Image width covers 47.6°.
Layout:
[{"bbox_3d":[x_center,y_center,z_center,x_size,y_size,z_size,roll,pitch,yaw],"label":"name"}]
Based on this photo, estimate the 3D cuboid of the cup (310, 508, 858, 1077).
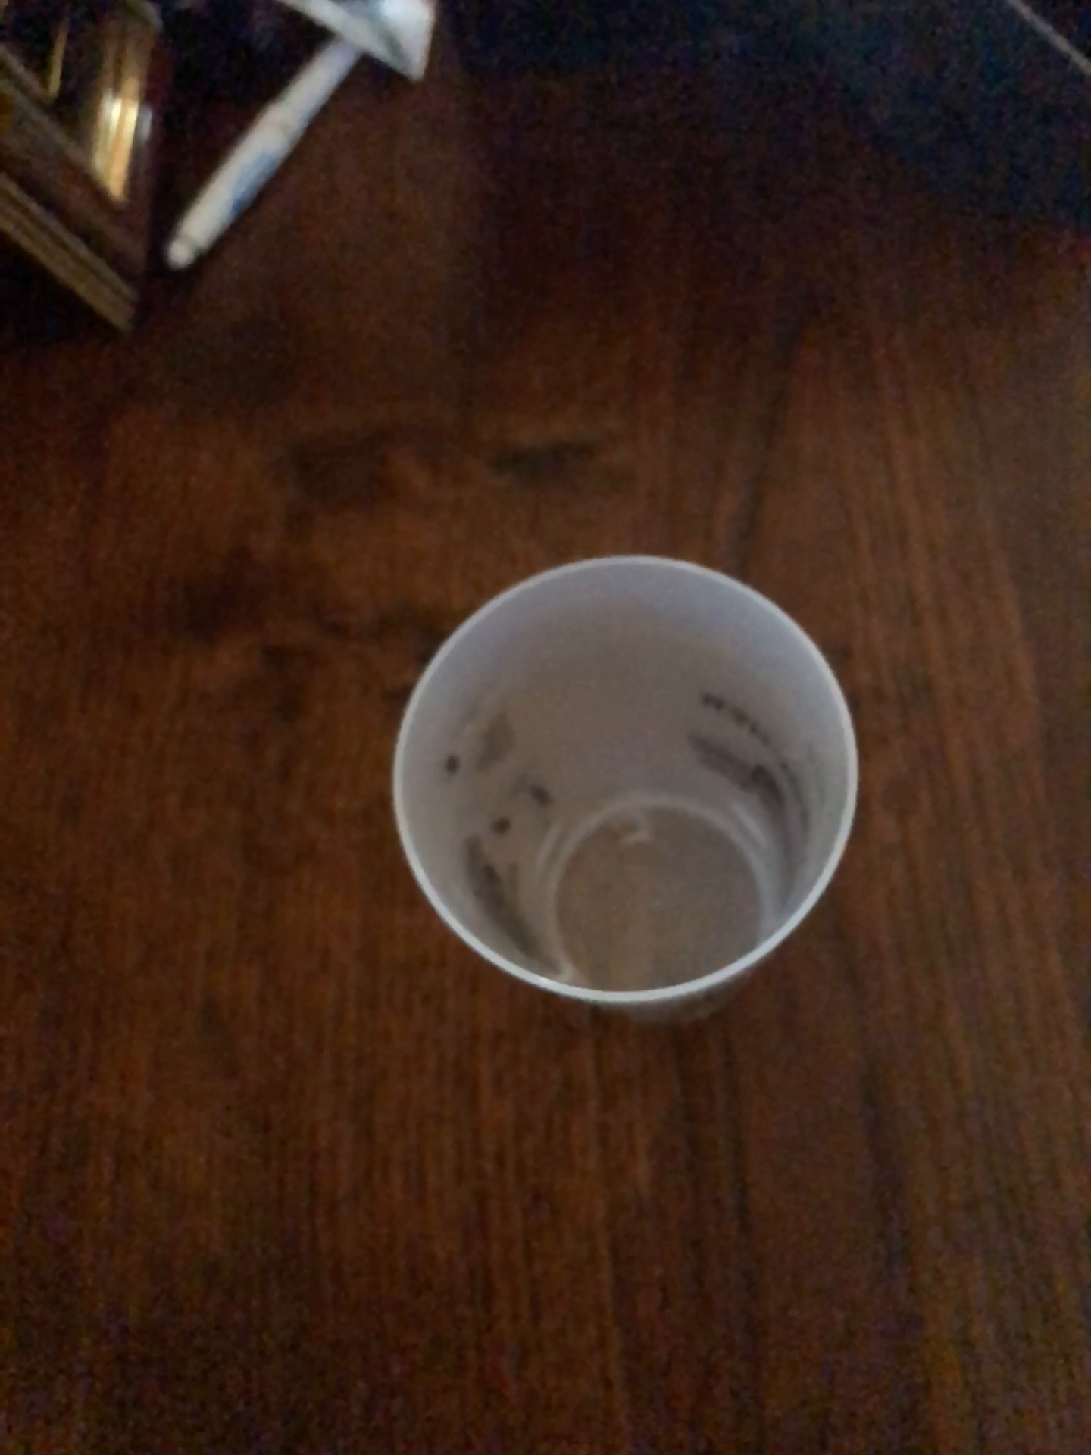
[{"bbox_3d":[0.014,0.022,0.242,0.070,0.120,0.070,-2,71,7],"label":"cup"}]
